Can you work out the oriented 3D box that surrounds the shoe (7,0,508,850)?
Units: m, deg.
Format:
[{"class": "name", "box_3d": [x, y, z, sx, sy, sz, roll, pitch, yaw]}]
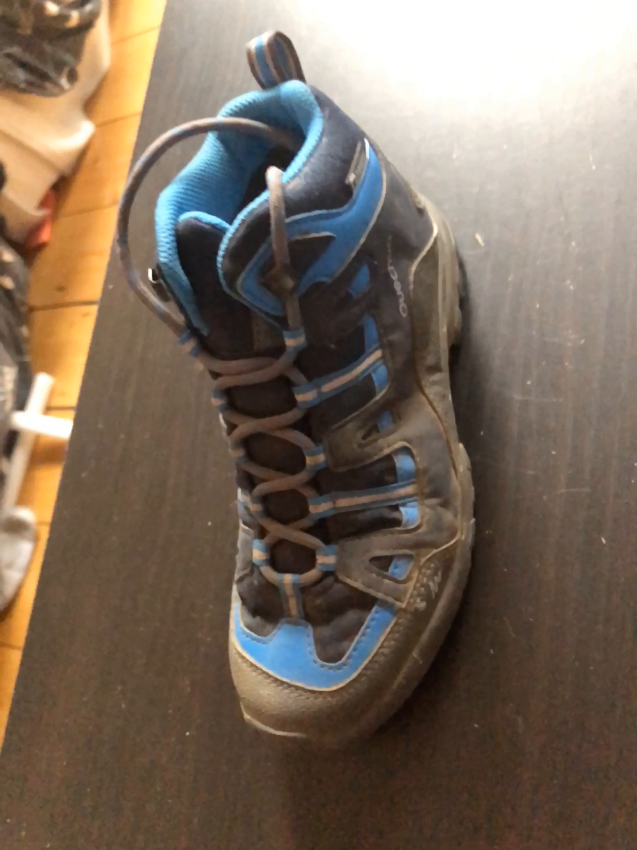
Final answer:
[{"class": "shoe", "box_3d": [-0.004, -0.003, 0.269, 0.100, 0.120, 0.250, 0, 74, 31]}]
